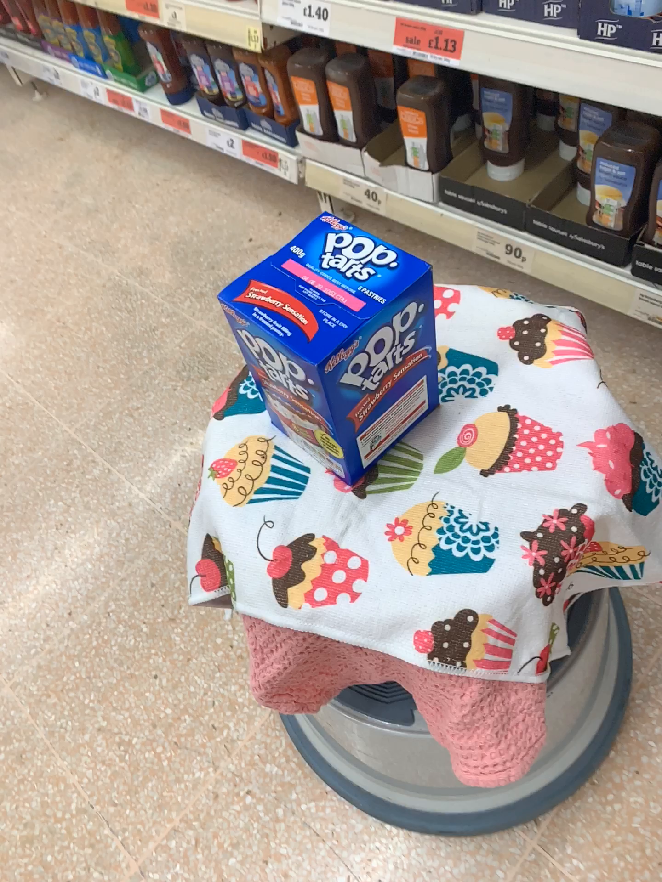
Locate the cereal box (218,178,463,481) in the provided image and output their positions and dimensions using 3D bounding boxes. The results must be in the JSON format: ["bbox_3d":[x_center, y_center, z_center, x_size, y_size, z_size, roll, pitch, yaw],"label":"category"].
[{"bbox_3d":[0.014,-0.068,0.438,0.100,0.139,0.090,-41,56,-16],"label":"cereal box"}]
